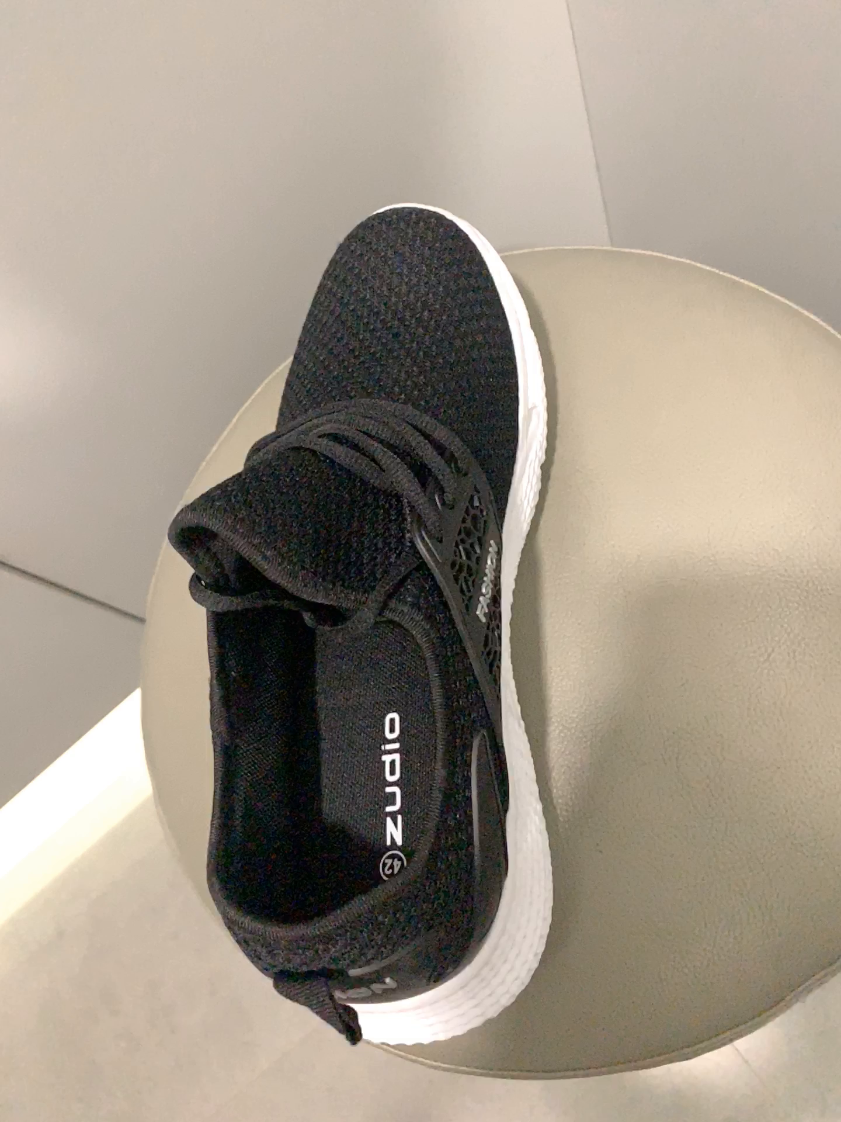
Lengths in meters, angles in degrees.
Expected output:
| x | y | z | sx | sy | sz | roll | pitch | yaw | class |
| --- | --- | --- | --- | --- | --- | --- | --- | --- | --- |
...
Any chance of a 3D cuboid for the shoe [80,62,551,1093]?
| x | y | z | sx | sy | sz | roll | pitch | yaw | class |
| --- | --- | --- | --- | --- | --- | --- | --- | --- | --- |
| -0.015 | -0.002 | 0.300 | 0.100 | 0.110 | 0.290 | -3 | 72 | 19 | shoe |
